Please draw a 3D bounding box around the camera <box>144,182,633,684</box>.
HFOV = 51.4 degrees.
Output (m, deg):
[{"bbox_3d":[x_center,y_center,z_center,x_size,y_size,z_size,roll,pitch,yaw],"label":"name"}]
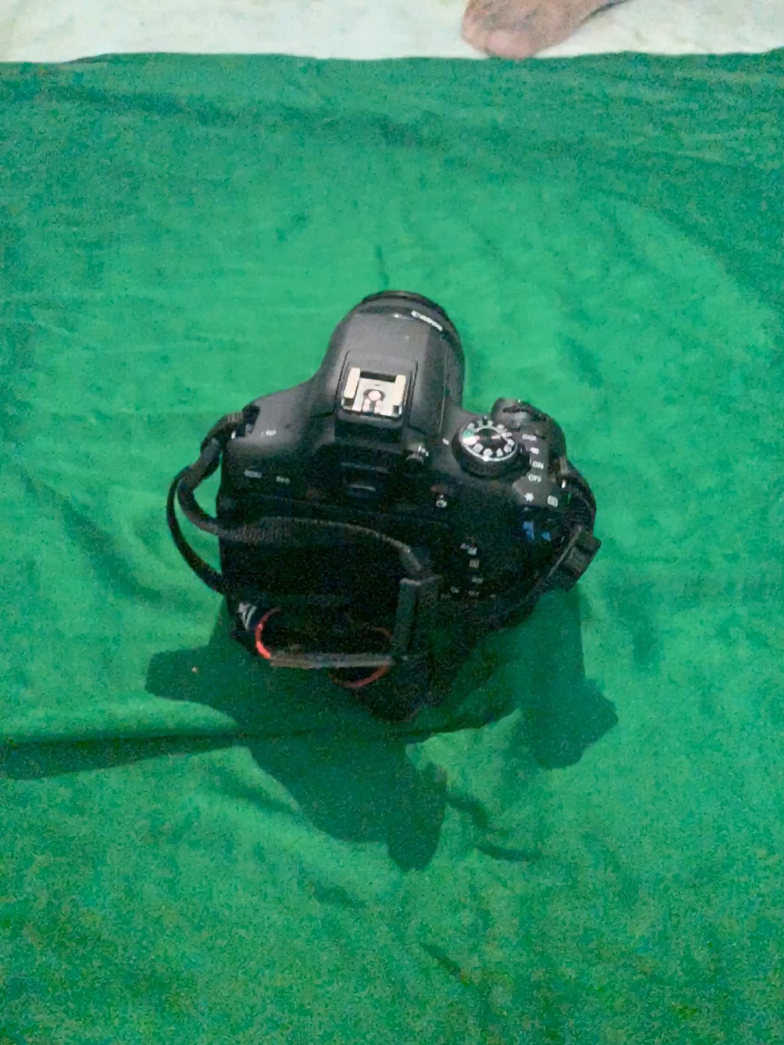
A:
[{"bbox_3d":[0.007,-0.047,0.351,0.152,0.100,0.191,5,50,4],"label":"camera"}]
